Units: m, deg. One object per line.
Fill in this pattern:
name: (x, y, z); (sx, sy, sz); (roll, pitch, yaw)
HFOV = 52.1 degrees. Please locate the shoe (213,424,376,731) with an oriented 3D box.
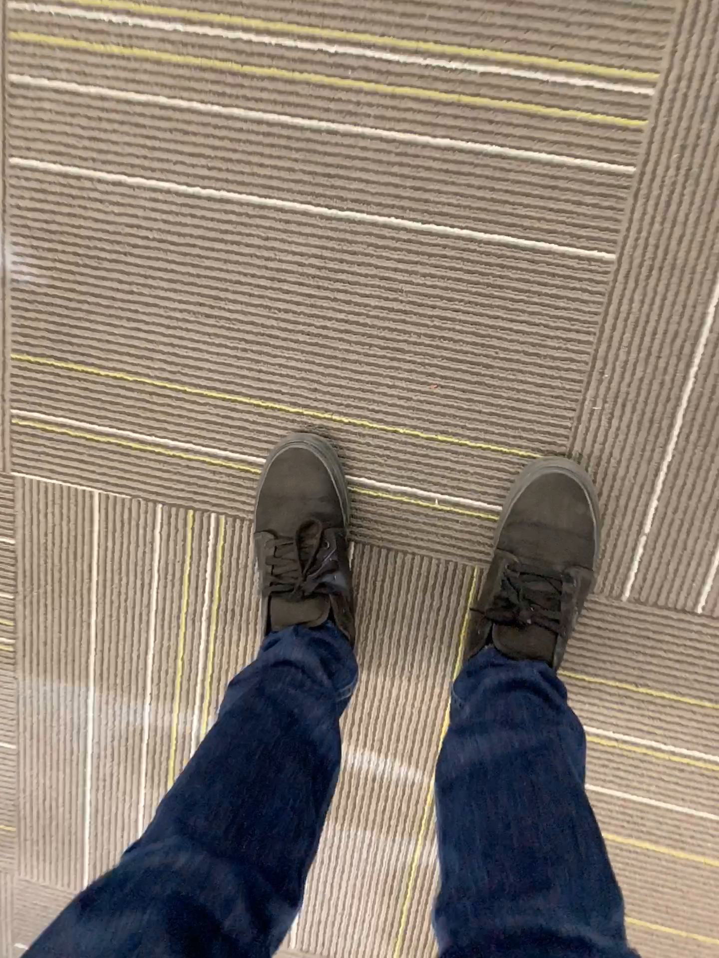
shoe: (-0.058, 0.100, 0.763); (0.109, 0.113, 0.292); (-2, 107, 11)

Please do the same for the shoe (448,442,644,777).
shoe: (0.173, 0.126, 0.727); (0.109, 0.113, 0.292); (12, 109, 6)
